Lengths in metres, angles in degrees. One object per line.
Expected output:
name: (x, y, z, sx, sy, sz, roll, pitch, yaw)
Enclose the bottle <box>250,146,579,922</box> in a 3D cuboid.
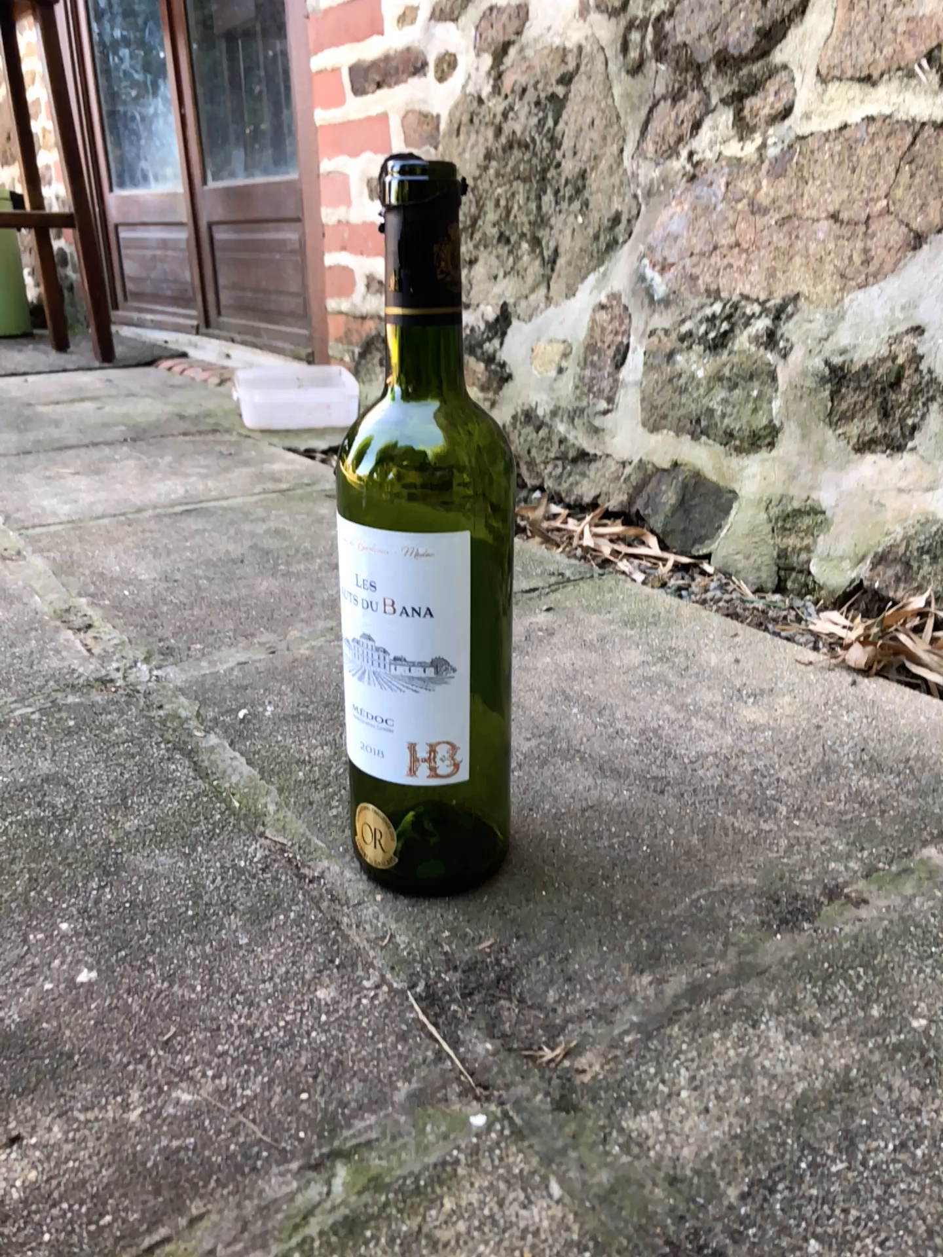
bottle: (-0.018, -0.037, 0.429, 0.090, 0.289, 0.080, 16, 27, 39)
